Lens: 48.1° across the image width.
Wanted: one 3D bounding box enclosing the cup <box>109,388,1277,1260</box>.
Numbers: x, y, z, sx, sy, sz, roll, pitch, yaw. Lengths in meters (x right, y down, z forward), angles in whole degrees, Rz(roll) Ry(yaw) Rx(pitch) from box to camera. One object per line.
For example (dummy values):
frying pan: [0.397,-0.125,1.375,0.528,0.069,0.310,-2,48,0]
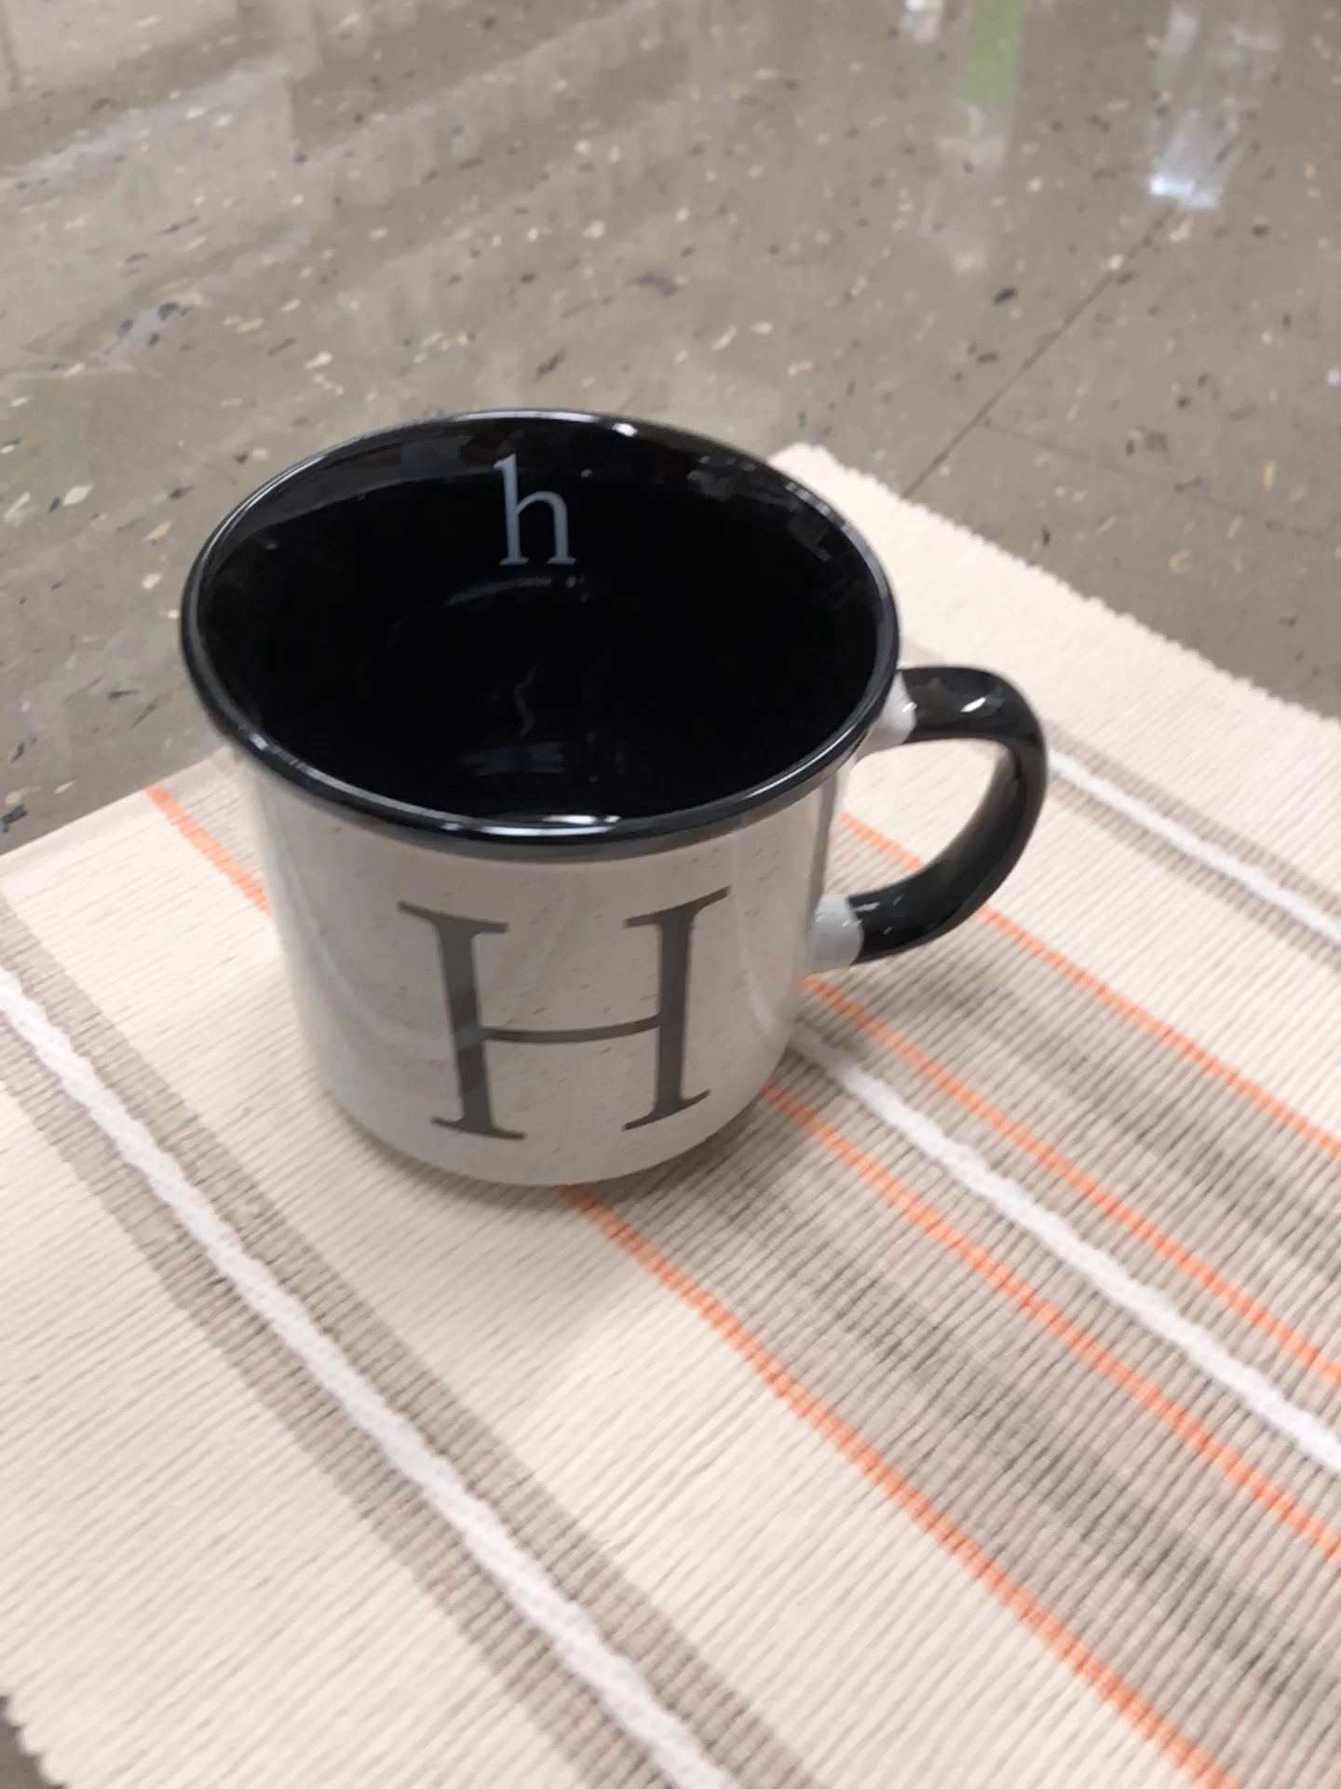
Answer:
cup: [-0.001,-0.012,0.250,0.140,0.100,0.100,-1,47,-5]
